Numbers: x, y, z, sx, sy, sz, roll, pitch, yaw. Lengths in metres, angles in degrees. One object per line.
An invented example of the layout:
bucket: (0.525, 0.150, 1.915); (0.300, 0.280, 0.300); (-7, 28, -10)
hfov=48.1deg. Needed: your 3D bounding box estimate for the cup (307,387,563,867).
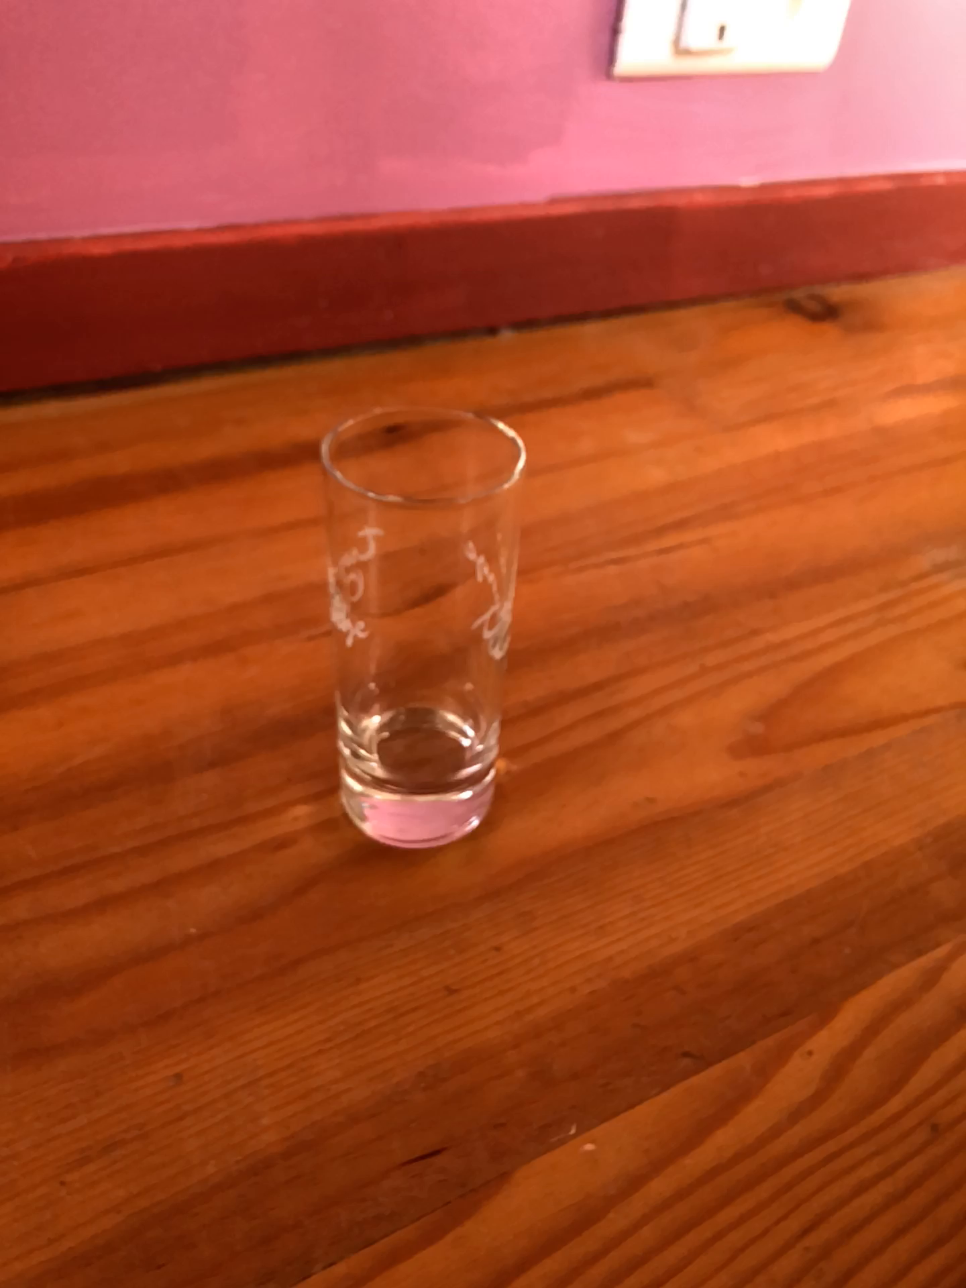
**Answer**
cup: (-0.017, -0.003, 0.309); (0.056, 0.124, 0.056); (2, 37, -2)
